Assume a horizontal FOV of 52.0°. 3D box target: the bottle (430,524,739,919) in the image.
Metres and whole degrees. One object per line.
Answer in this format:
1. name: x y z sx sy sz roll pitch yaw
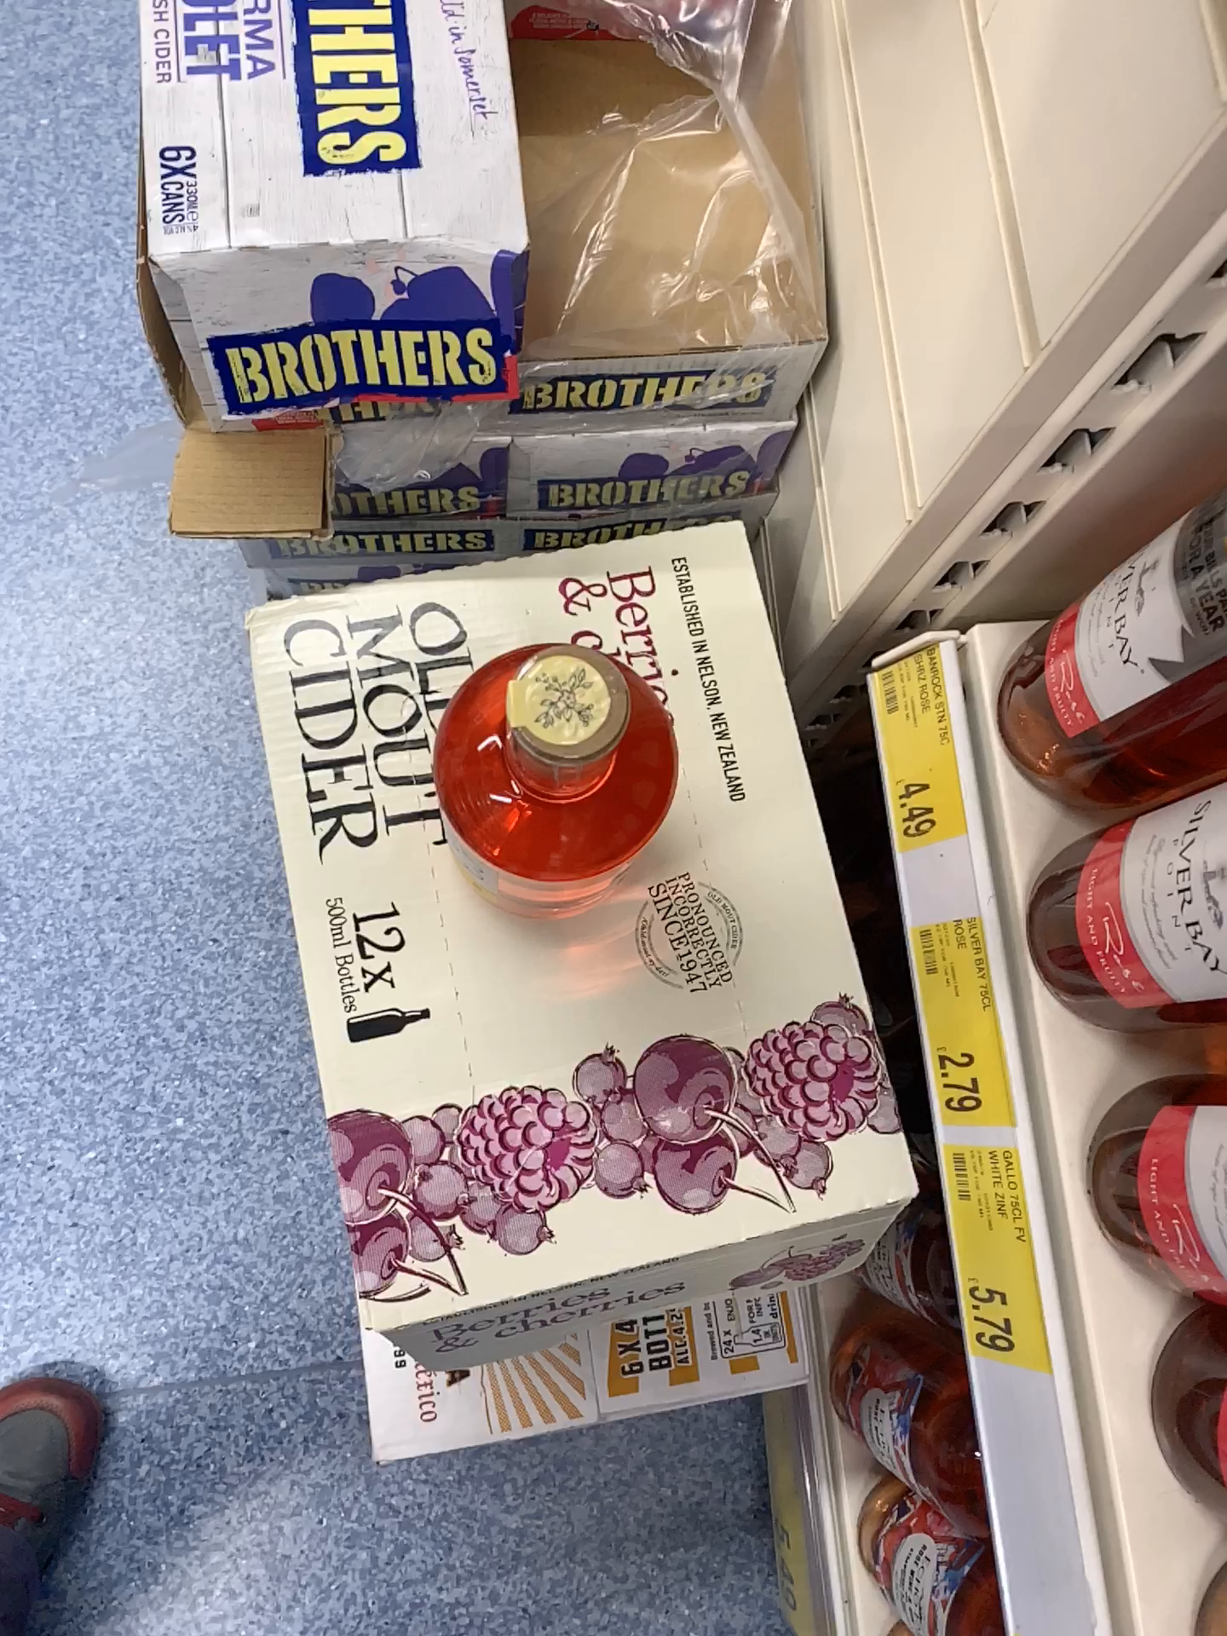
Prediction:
1. bottle: -0.017 -0.019 0.403 0.076 0.176 0.077 1 77 -6
